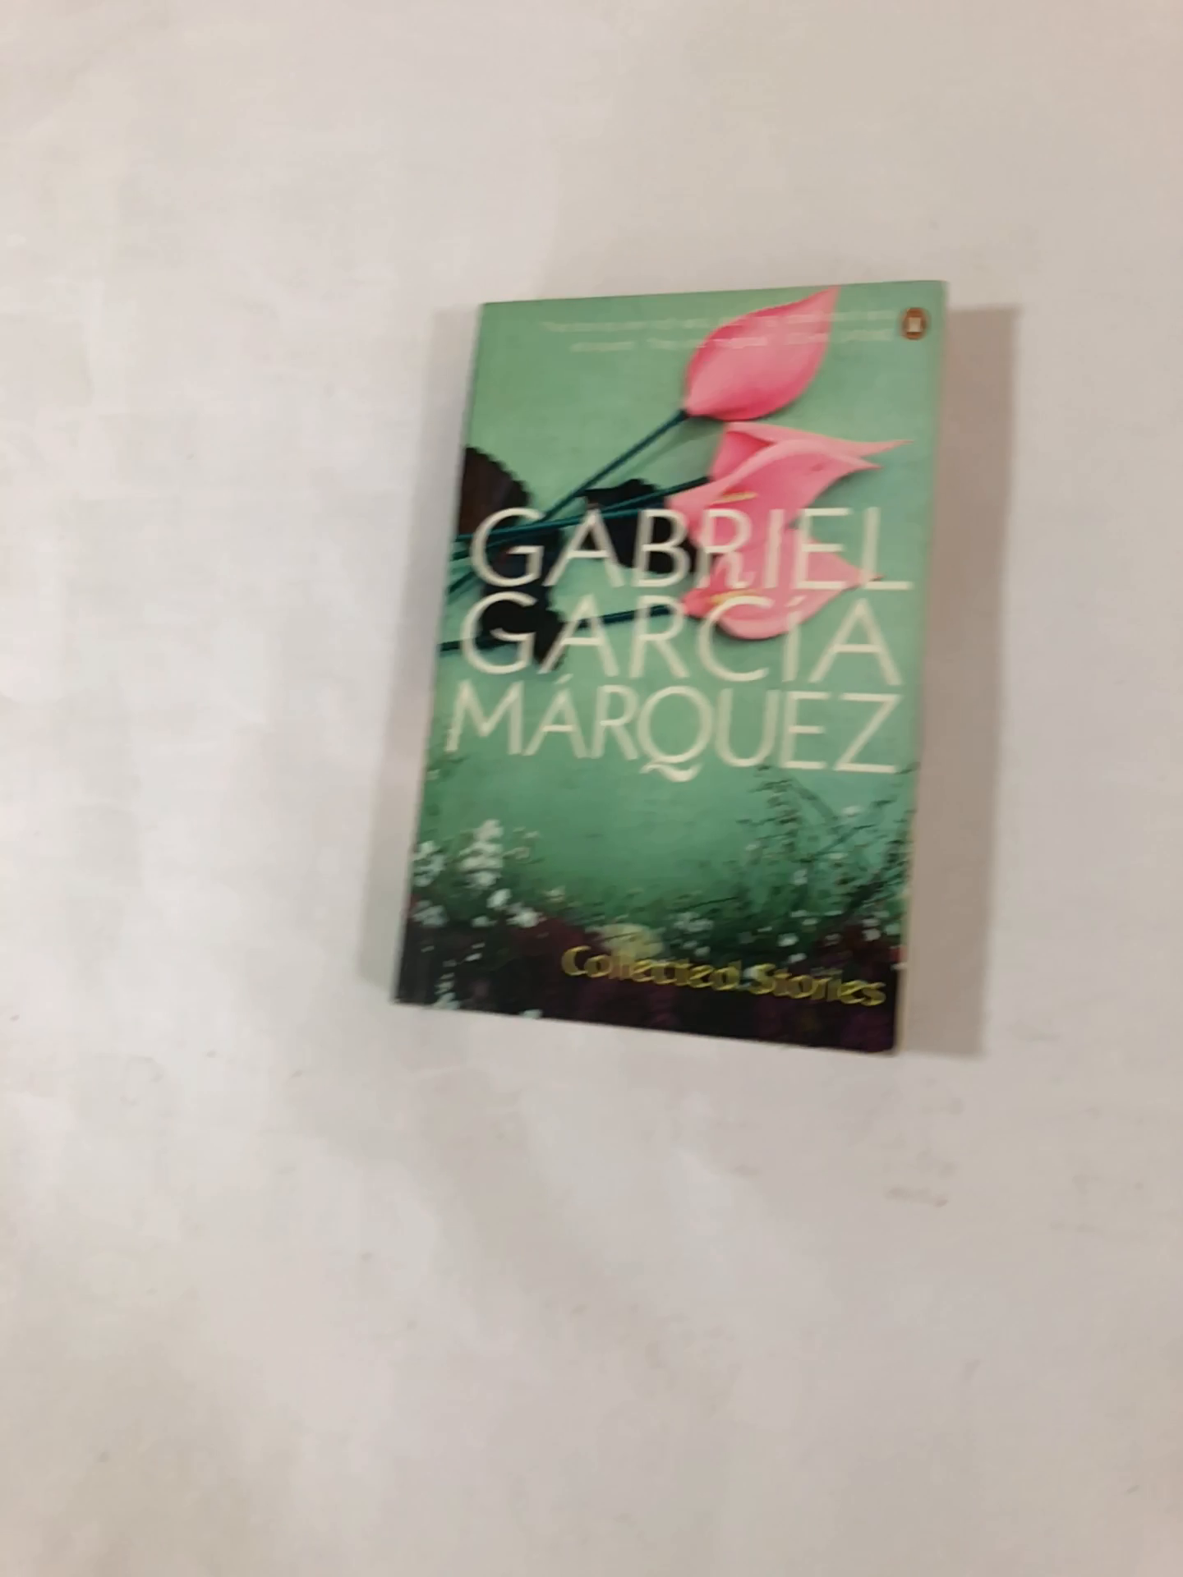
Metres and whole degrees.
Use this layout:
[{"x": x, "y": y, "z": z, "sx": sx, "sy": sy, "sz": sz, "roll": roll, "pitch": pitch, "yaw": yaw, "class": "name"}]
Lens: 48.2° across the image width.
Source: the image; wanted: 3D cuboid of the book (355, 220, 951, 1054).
[{"x": 0.019, "y": -0.041, "z": 0.335, "sx": 0.130, "sy": 0.030, "sz": 0.200, "roll": 2, "pitch": 78, "yaw": 15, "class": "book"}]
